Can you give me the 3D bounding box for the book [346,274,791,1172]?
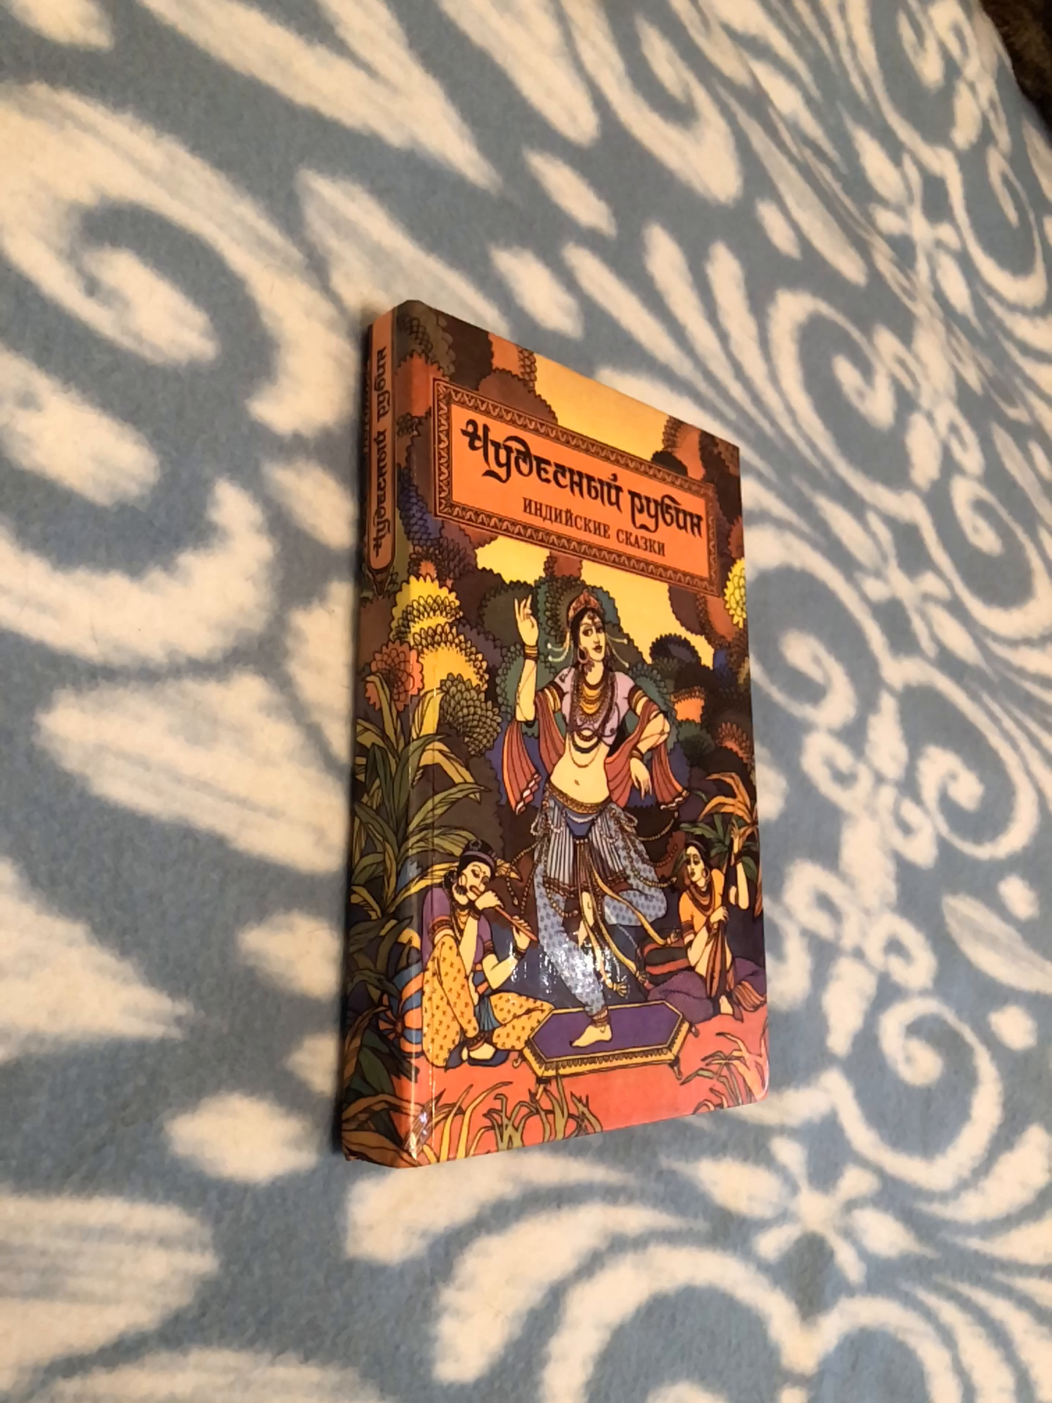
[{"bbox_3d":[0.019,0.008,0.327,0.140,0.027,0.210,10,75,-43],"label":"book"}]
